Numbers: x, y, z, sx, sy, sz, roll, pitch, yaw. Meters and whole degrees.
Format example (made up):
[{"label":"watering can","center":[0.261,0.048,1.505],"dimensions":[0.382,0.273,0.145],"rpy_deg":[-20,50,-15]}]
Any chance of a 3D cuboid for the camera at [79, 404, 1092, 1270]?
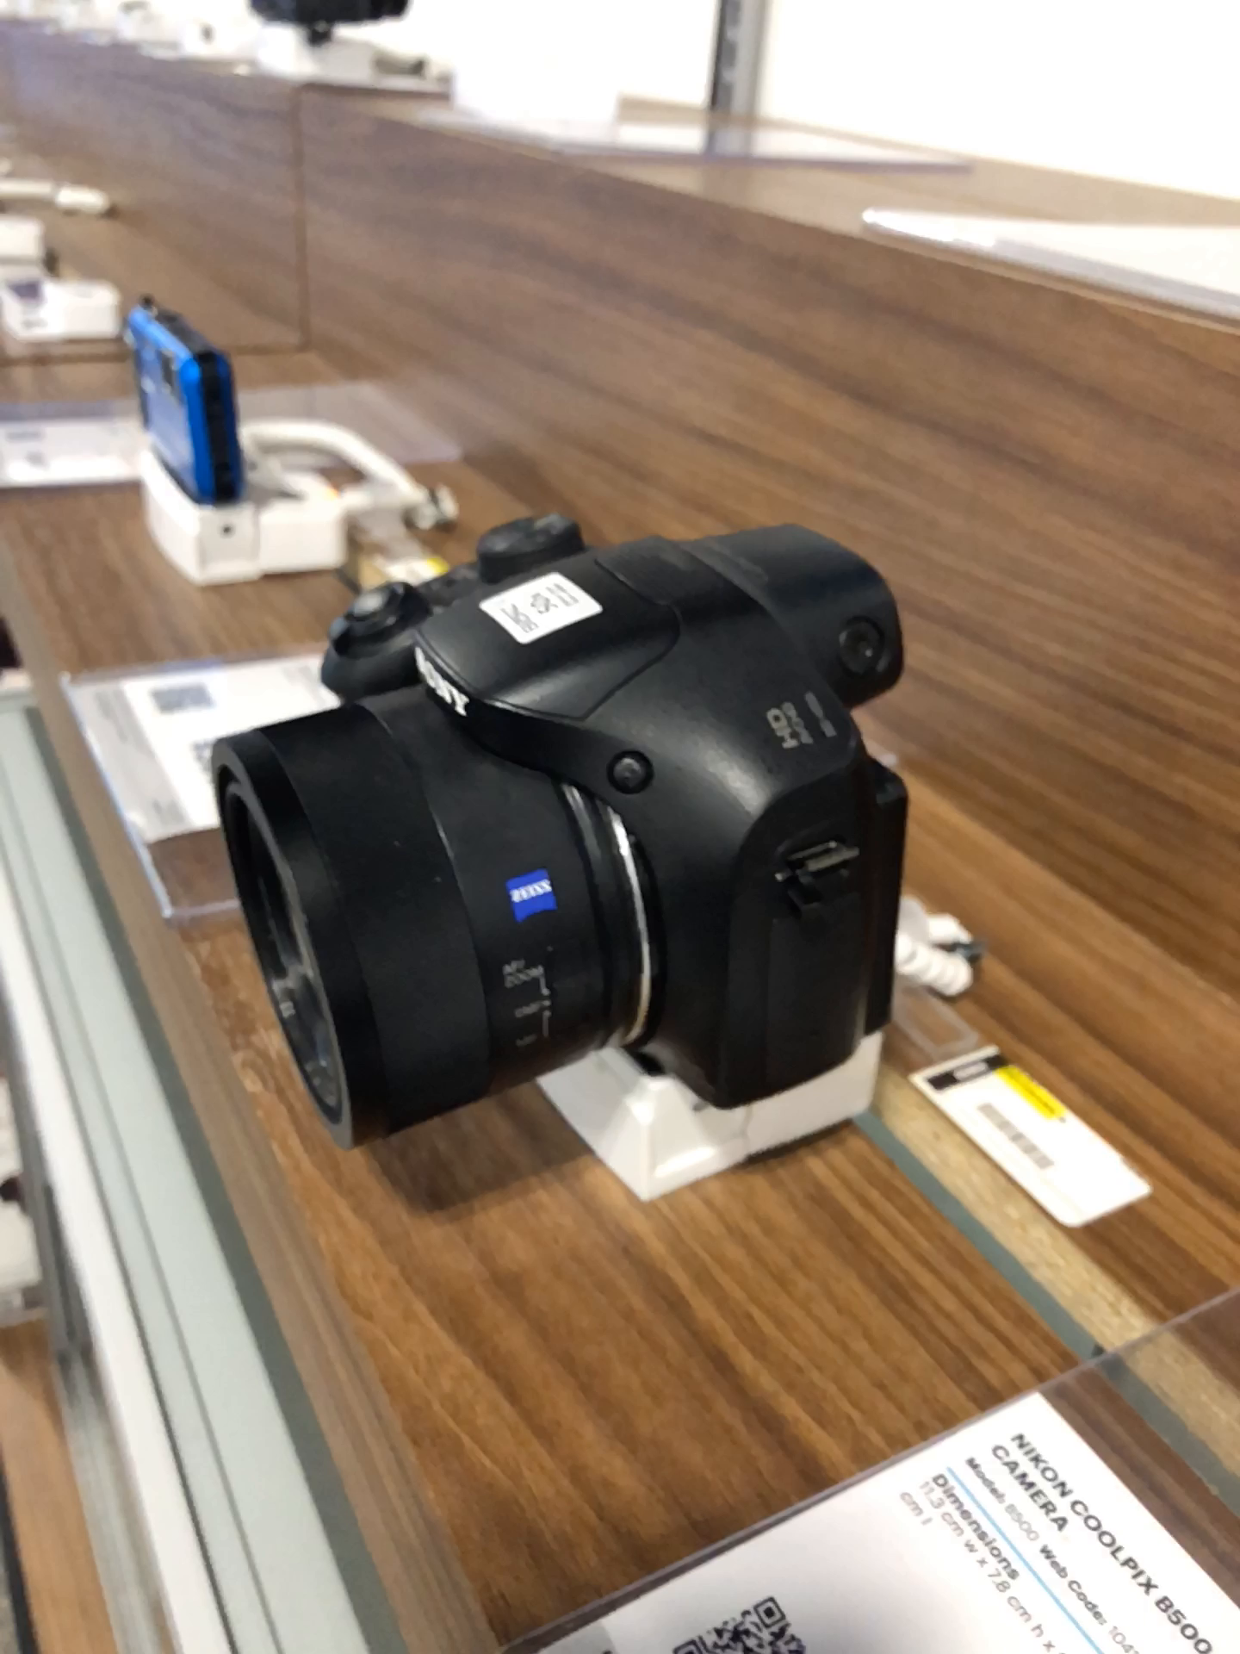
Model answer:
[{"label":"camera","center":[-0.016,-0.016,0.263],"dimensions":[0.130,0.089,0.131],"rpy_deg":[-12,34,-28]}]
